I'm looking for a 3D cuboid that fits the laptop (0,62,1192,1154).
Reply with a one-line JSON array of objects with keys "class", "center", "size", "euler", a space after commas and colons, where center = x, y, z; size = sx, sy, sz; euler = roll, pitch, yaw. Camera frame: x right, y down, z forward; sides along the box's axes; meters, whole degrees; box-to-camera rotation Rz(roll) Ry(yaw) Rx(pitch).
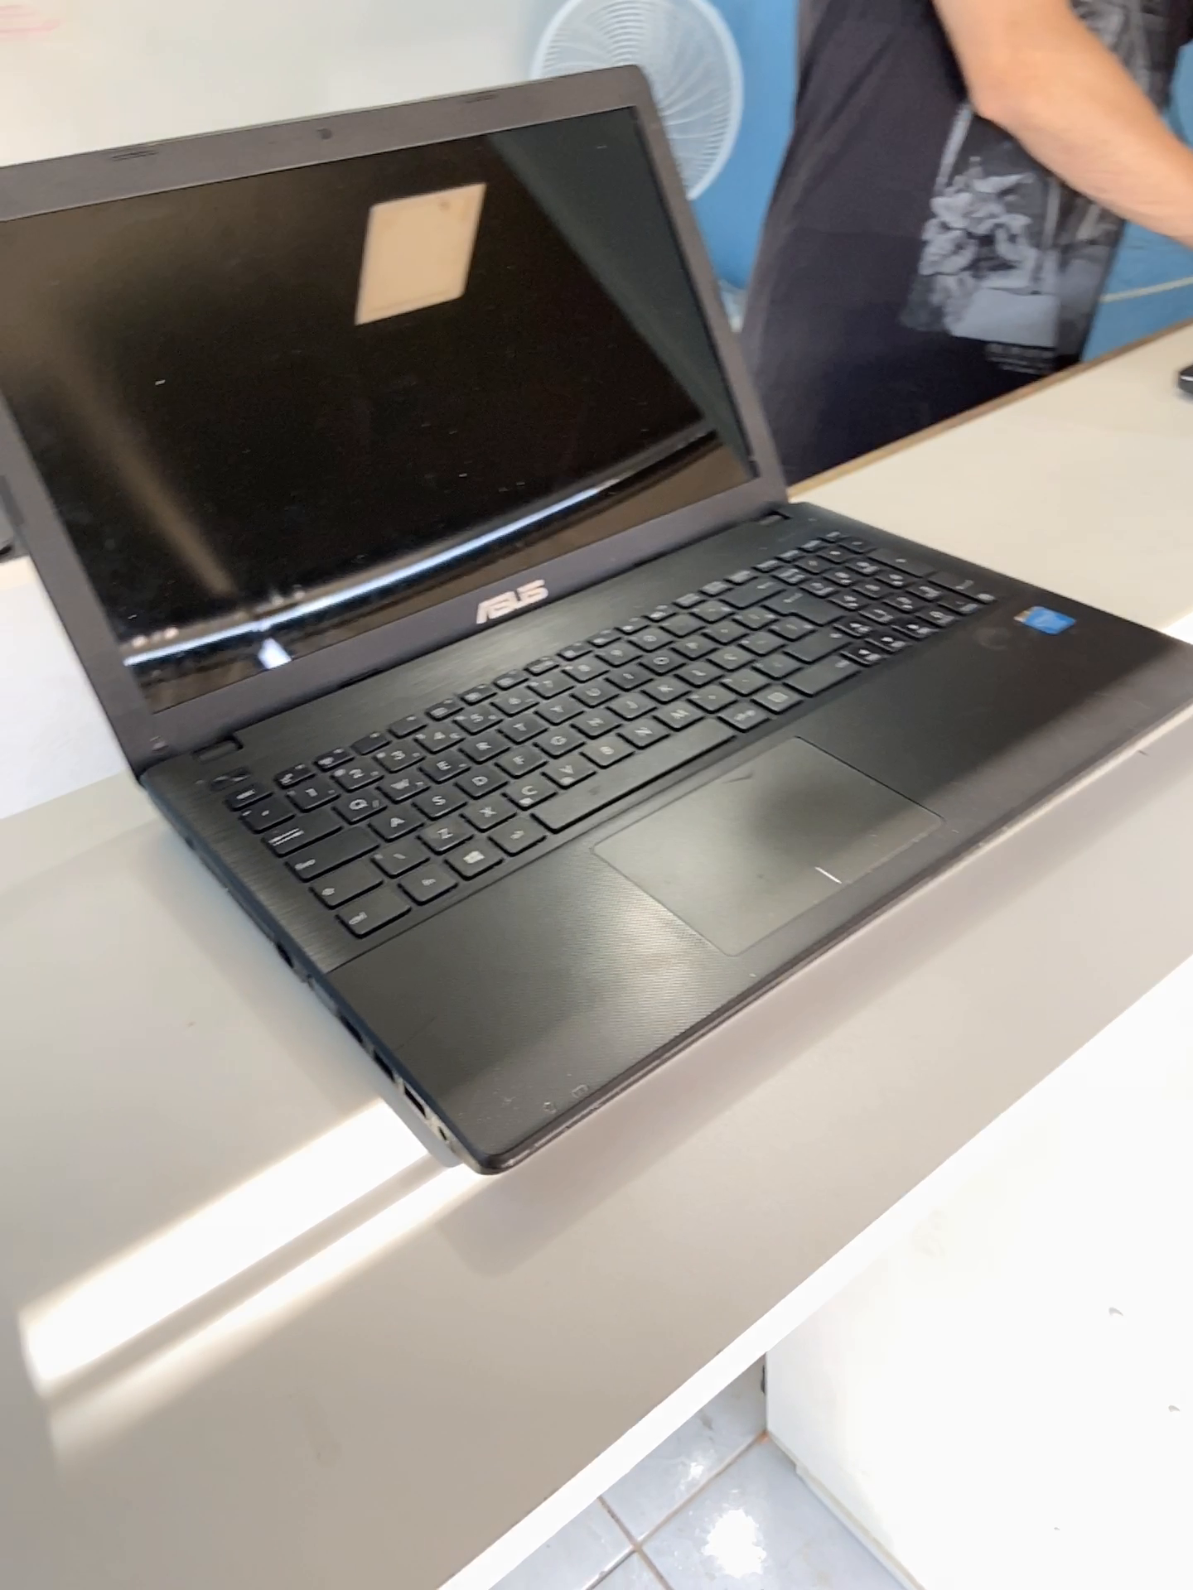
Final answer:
[{"class": "laptop", "center": [-0.006, -0.139, 0.476], "size": [0.368, 0.200, 0.362], "euler": [-27, 40, -27]}]
